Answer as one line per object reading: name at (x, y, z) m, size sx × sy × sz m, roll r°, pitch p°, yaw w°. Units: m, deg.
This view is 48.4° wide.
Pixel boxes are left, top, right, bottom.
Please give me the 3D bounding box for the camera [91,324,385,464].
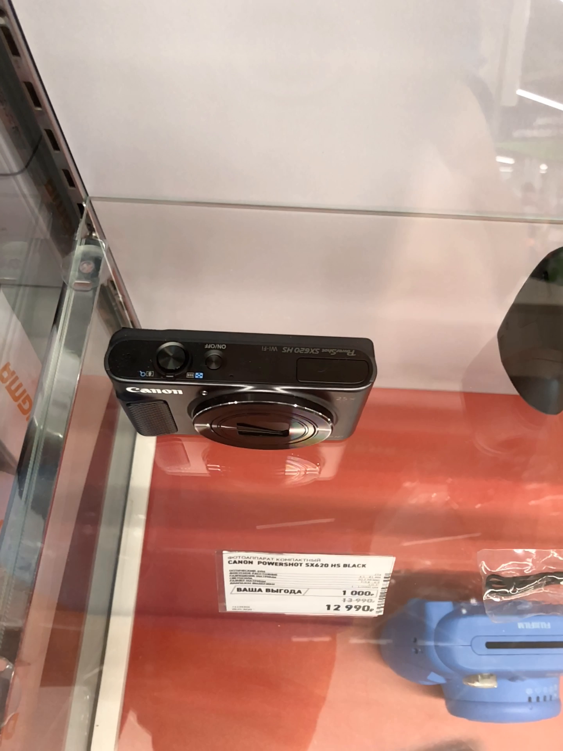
camera at (-0.014, 0.009, 0.240) m, size 0.098 × 0.055 × 0.030 m, roll 3°, pitch 66°, yaw 0°
